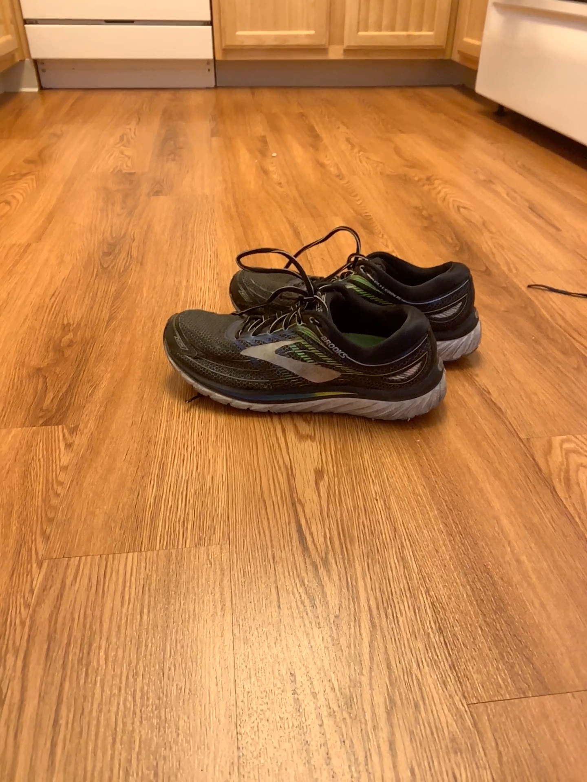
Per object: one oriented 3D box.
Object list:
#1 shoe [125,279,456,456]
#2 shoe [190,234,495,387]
[{"bbox_3d":[0.001,-0.031,0.645,0.320,0.109,0.111,8,36,9],"label":"shoe"},{"bbox_3d":[0.059,-0.106,0.746,0.340,0.109,0.121,8,36,9],"label":"shoe"}]
